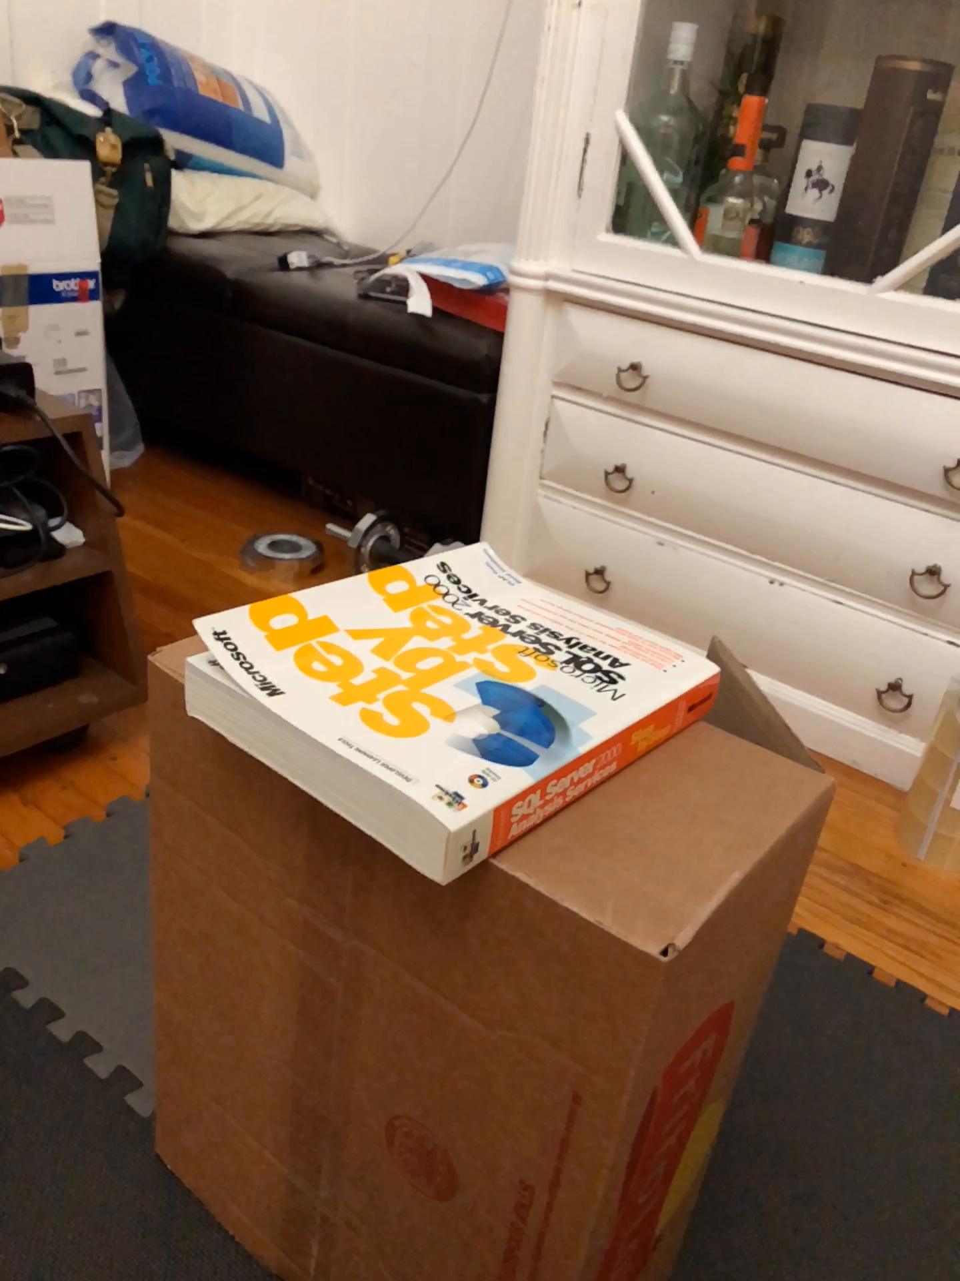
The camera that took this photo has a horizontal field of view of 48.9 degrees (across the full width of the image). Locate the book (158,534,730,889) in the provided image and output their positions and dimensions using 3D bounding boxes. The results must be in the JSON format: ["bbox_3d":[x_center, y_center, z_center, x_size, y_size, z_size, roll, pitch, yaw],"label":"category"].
[{"bbox_3d":[-0.011,0.016,0.573,0.200,0.050,0.241,22,28,31],"label":"book"}]
